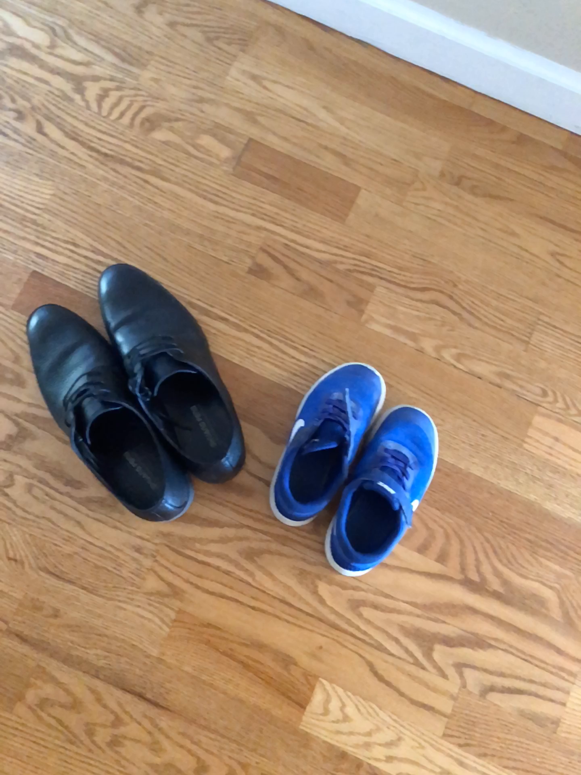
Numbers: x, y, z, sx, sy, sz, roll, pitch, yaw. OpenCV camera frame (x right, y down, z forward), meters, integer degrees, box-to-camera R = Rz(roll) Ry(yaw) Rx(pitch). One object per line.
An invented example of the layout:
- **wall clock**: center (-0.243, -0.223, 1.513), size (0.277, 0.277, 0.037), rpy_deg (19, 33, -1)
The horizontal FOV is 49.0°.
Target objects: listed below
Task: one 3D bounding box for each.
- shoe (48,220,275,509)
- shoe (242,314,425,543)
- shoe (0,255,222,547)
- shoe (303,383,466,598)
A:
- **shoe**: center (-0.152, -0.026, 0.768), size (0.120, 0.090, 0.320), rpy_deg (-30, 80, -8)
- **shoe**: center (0.048, 0.053, 0.751), size (0.100, 0.130, 0.230), rpy_deg (29, 78, 5)
- **shoe**: center (-0.223, 0.016, 0.752), size (0.120, 0.090, 0.320), rpy_deg (-34, 80, -8)
- **shoe**: center (0.110, 0.121, 0.760), size (0.100, 0.070, 0.220), rpy_deg (26, 78, 4)
